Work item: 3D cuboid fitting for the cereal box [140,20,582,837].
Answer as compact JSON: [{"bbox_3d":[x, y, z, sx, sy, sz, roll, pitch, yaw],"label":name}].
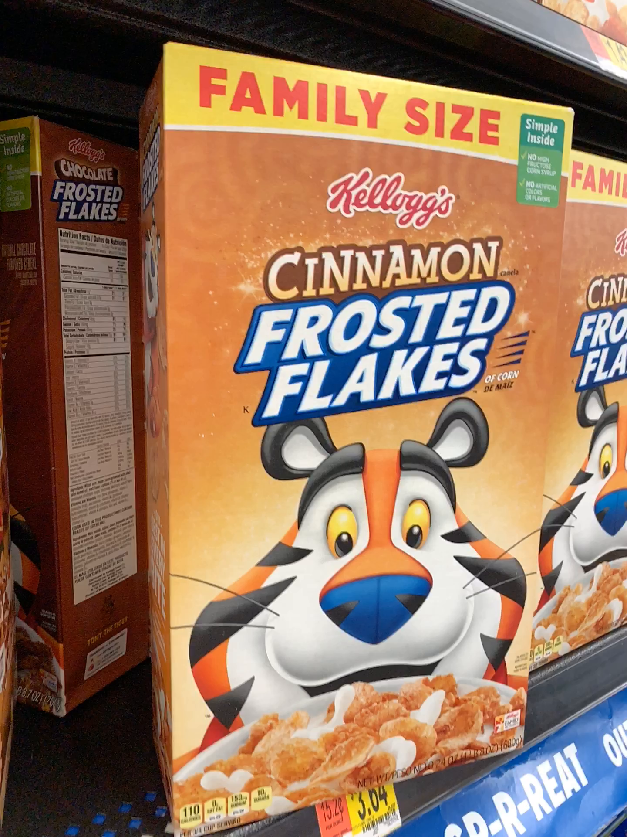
[{"bbox_3d":[0.020,0.008,0.337,0.200,0.339,0.080,-2,8,-19],"label":"cereal box"}]
